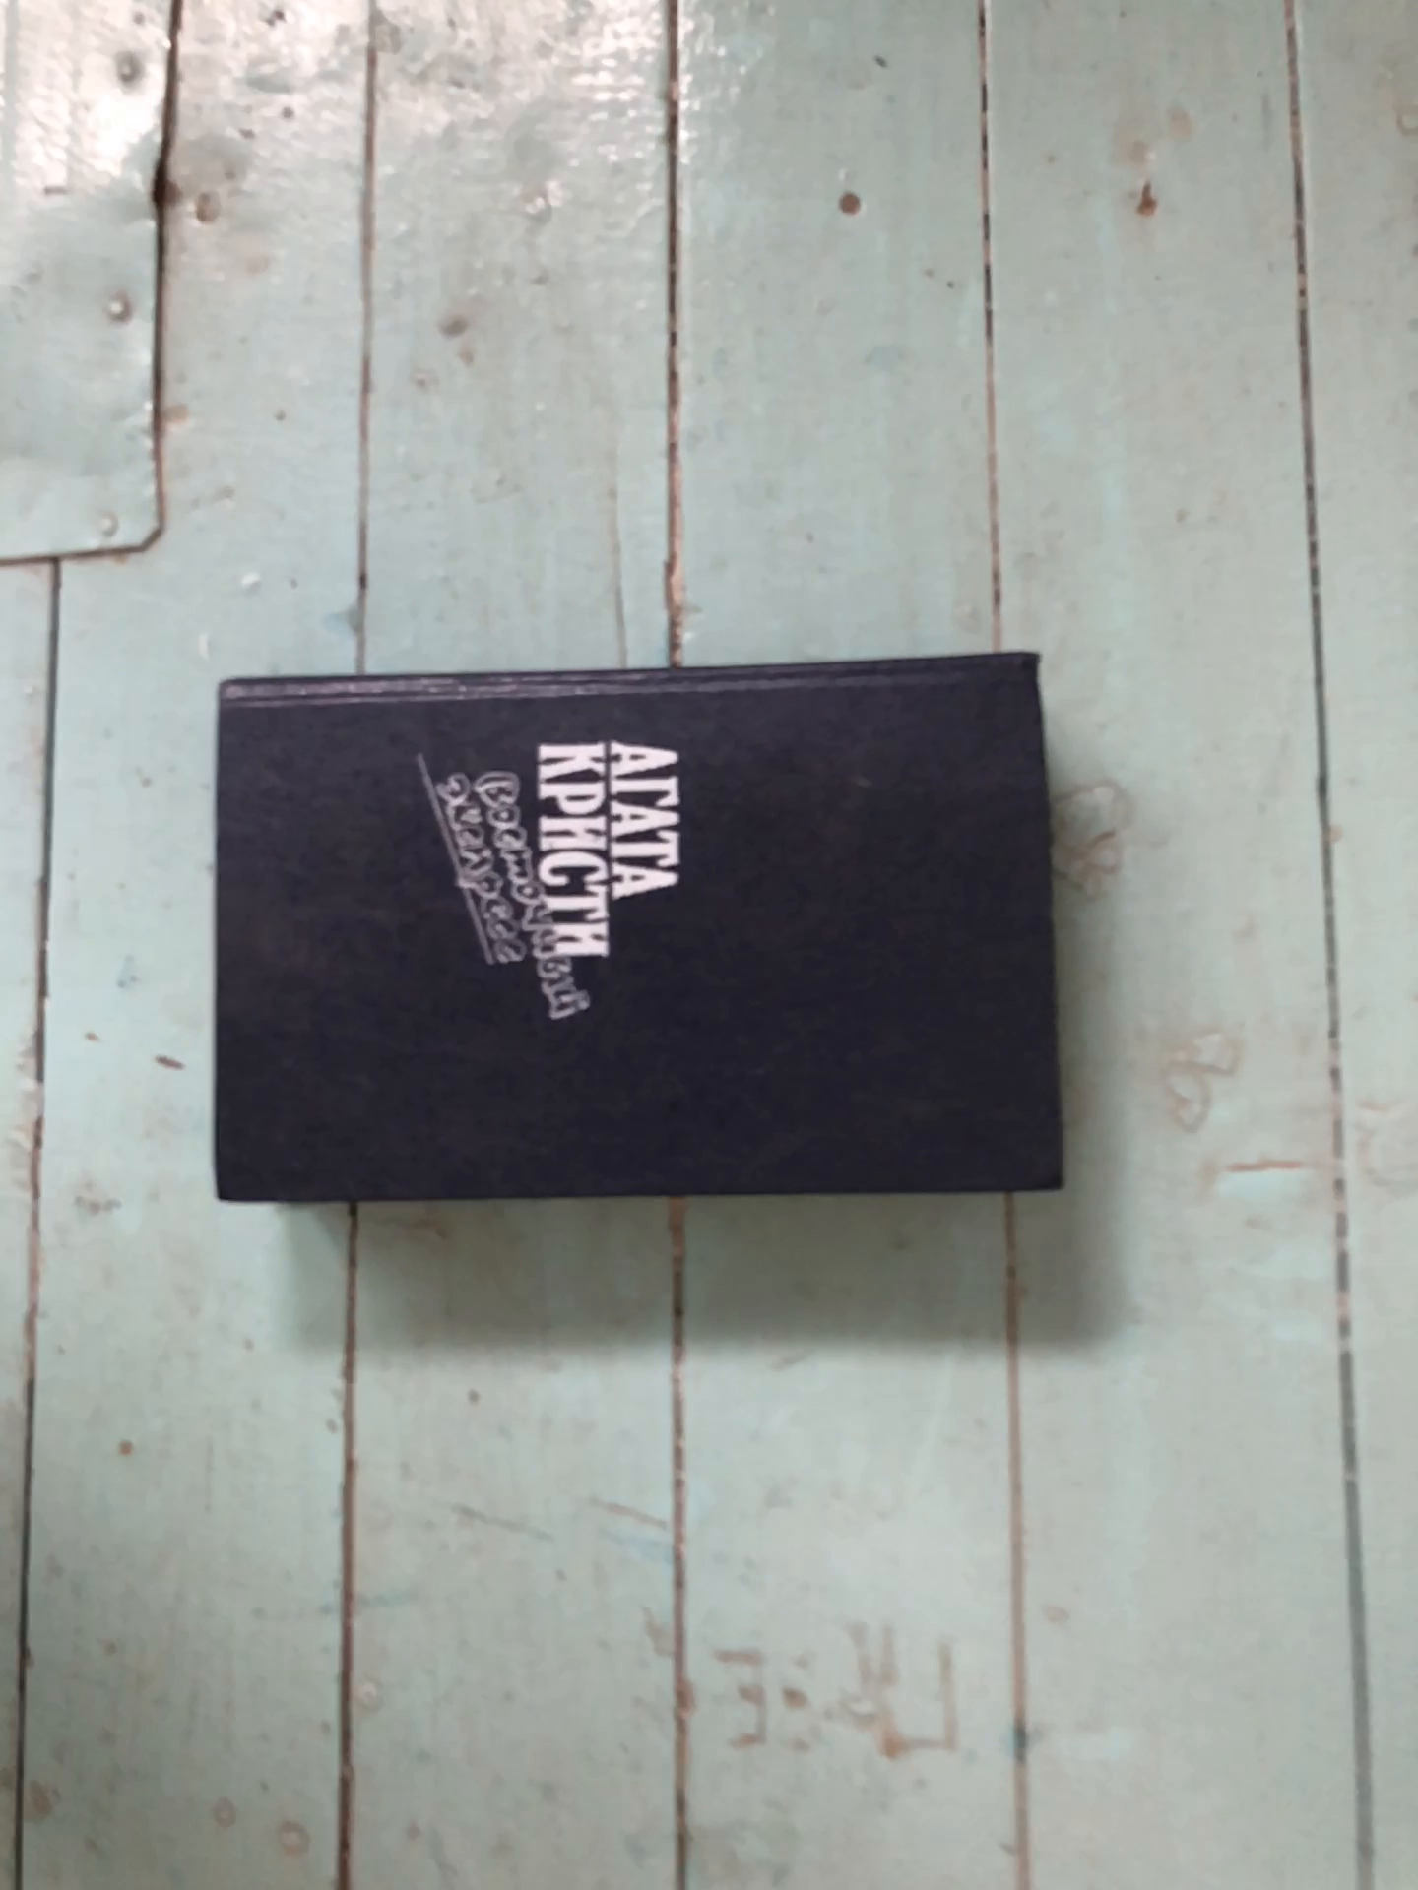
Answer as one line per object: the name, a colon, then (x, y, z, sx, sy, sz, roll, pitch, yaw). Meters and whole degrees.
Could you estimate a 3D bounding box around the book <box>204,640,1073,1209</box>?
book: (-0.018, -0.004, 0.409, 0.210, 0.040, 0.138, -1, 84, 2)
